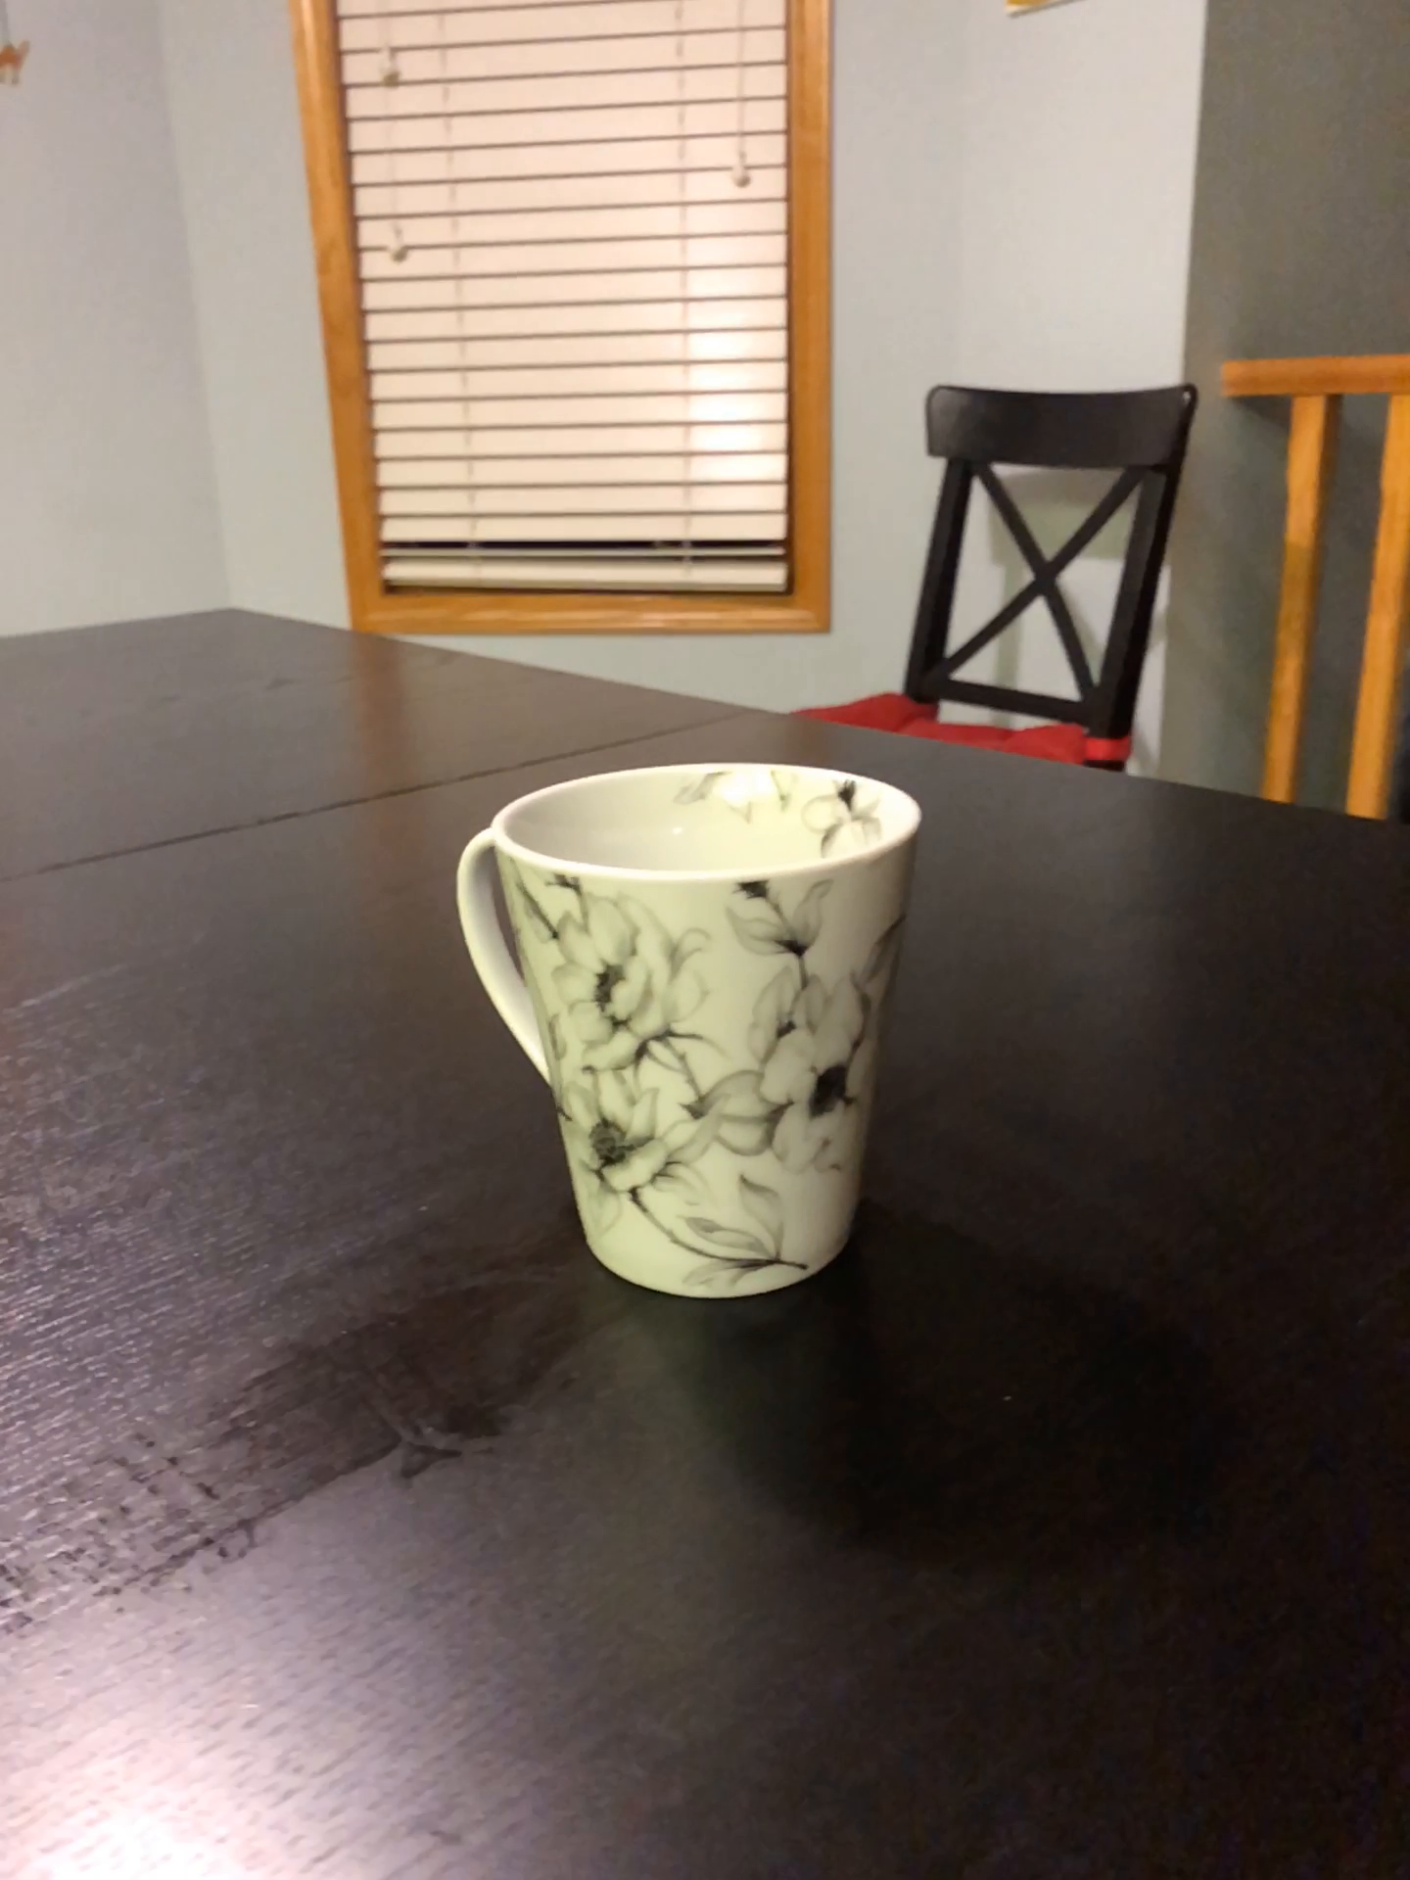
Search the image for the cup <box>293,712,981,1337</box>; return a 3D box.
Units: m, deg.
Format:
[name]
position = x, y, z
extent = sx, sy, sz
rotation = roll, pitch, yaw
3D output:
[cup]
position = -0.011, 0.009, 0.369
extent = 0.120, 0.100, 0.100
rotation = 9, 21, 28
